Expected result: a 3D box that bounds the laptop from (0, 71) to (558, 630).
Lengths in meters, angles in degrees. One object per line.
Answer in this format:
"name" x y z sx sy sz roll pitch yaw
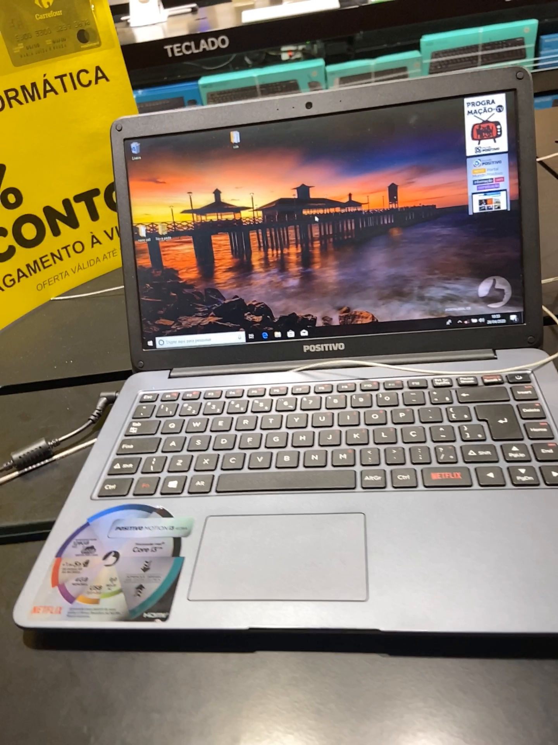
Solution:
"laptop" 0.022 -0.045 0.373 0.331 0.172 0.343 -3 37 9
